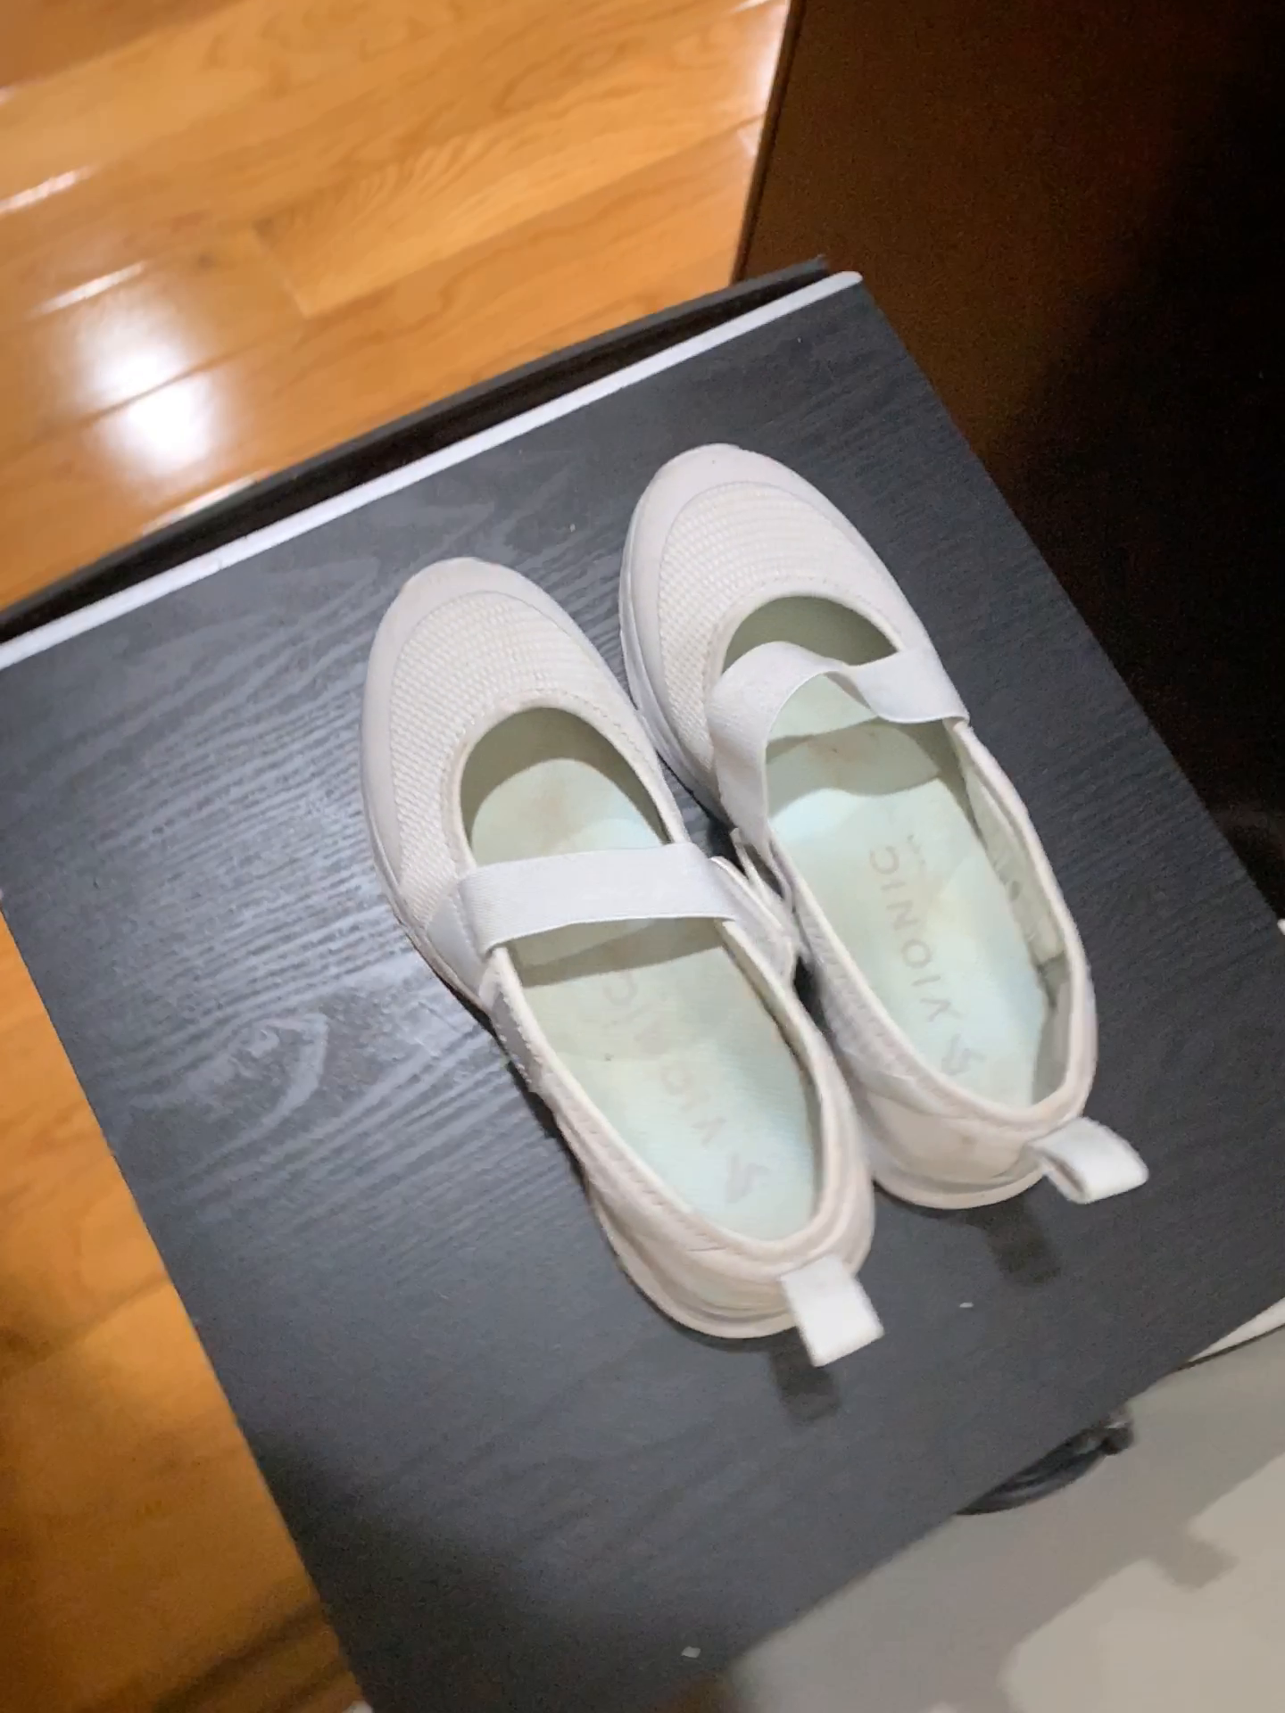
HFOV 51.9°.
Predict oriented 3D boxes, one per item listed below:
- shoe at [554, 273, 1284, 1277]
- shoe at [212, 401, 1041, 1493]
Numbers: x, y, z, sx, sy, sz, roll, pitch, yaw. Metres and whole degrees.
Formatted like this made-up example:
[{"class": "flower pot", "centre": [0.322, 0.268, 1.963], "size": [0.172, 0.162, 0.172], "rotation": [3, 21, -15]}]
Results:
[{"class": "shoe", "centre": [0.075, -0.022, 0.384], "size": [0.102, 0.094, 0.249], "rotation": [-25, 79, -10]}, {"class": "shoe", "centre": [-0.012, 0.020, 0.367], "size": [0.102, 0.094, 0.249], "rotation": [-25, 79, -10]}]
